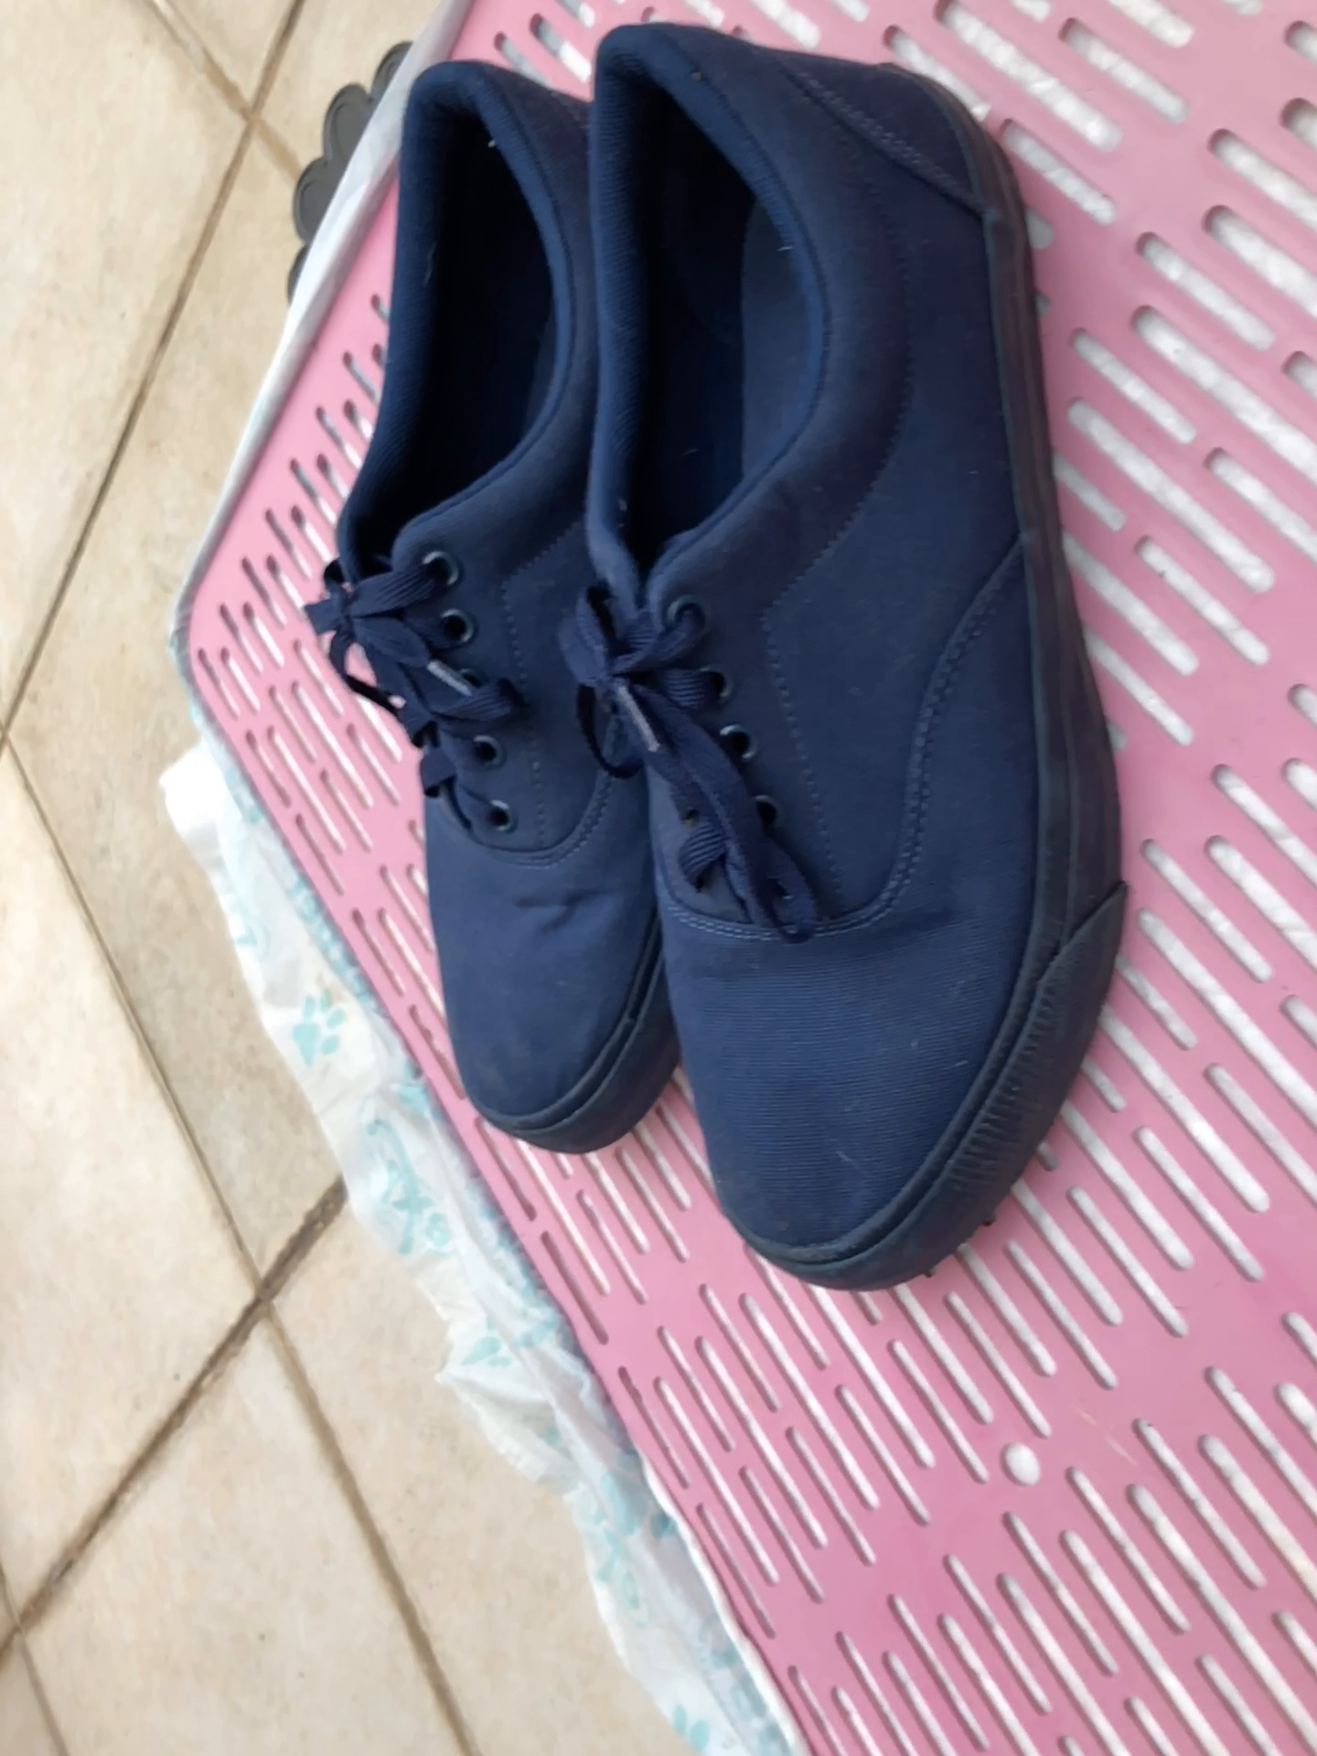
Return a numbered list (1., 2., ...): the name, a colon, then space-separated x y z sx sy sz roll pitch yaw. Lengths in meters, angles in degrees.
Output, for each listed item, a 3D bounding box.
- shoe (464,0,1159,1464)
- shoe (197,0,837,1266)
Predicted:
1. shoe: 0.033 -0.039 0.315 0.108 0.099 0.270 2 94 43
2. shoe: -0.039 -0.059 0.372 0.108 0.099 0.270 10 99 42
